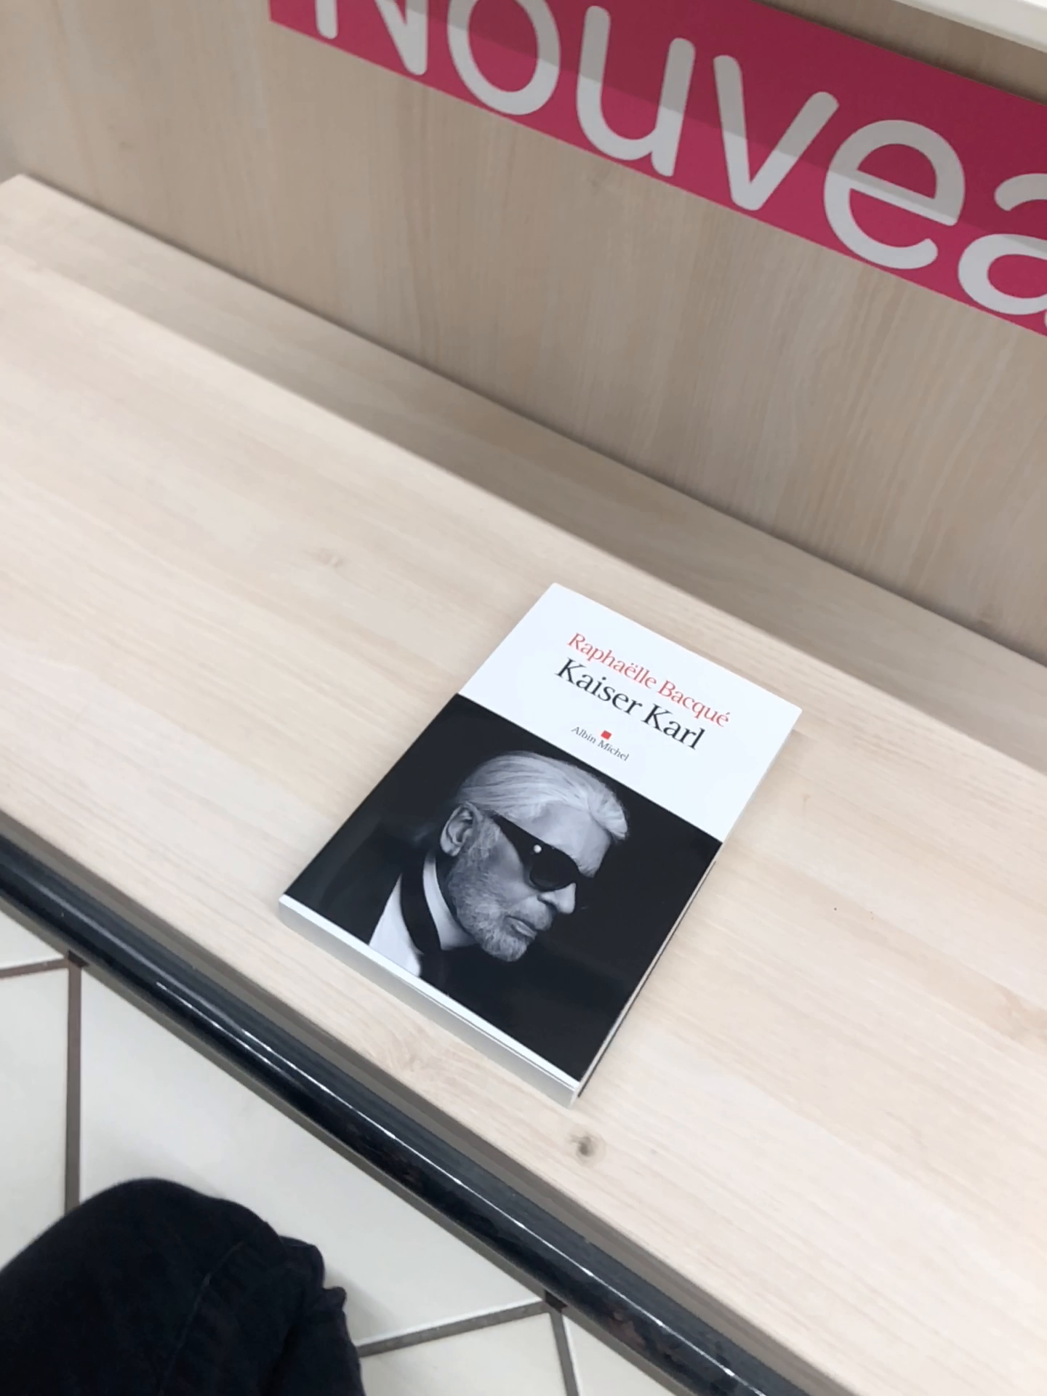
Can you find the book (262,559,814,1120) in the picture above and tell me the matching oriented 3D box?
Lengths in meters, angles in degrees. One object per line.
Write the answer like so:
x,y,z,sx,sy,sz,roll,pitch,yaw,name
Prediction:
0.015,0.047,0.511,0.150,0.030,0.221,29,55,13,book
